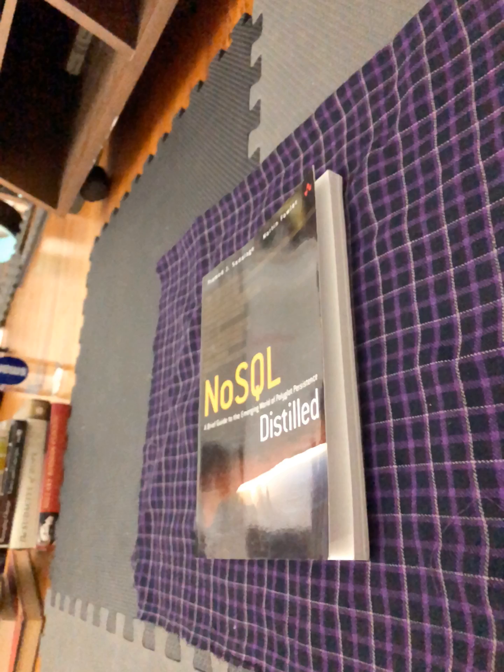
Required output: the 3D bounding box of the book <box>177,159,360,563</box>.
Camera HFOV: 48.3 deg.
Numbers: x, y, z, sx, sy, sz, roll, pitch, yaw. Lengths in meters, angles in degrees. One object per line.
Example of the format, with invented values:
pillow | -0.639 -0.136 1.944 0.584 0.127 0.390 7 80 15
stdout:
book | 0.000 0.030 0.410 0.191 0.020 0.250 -33 51 53
